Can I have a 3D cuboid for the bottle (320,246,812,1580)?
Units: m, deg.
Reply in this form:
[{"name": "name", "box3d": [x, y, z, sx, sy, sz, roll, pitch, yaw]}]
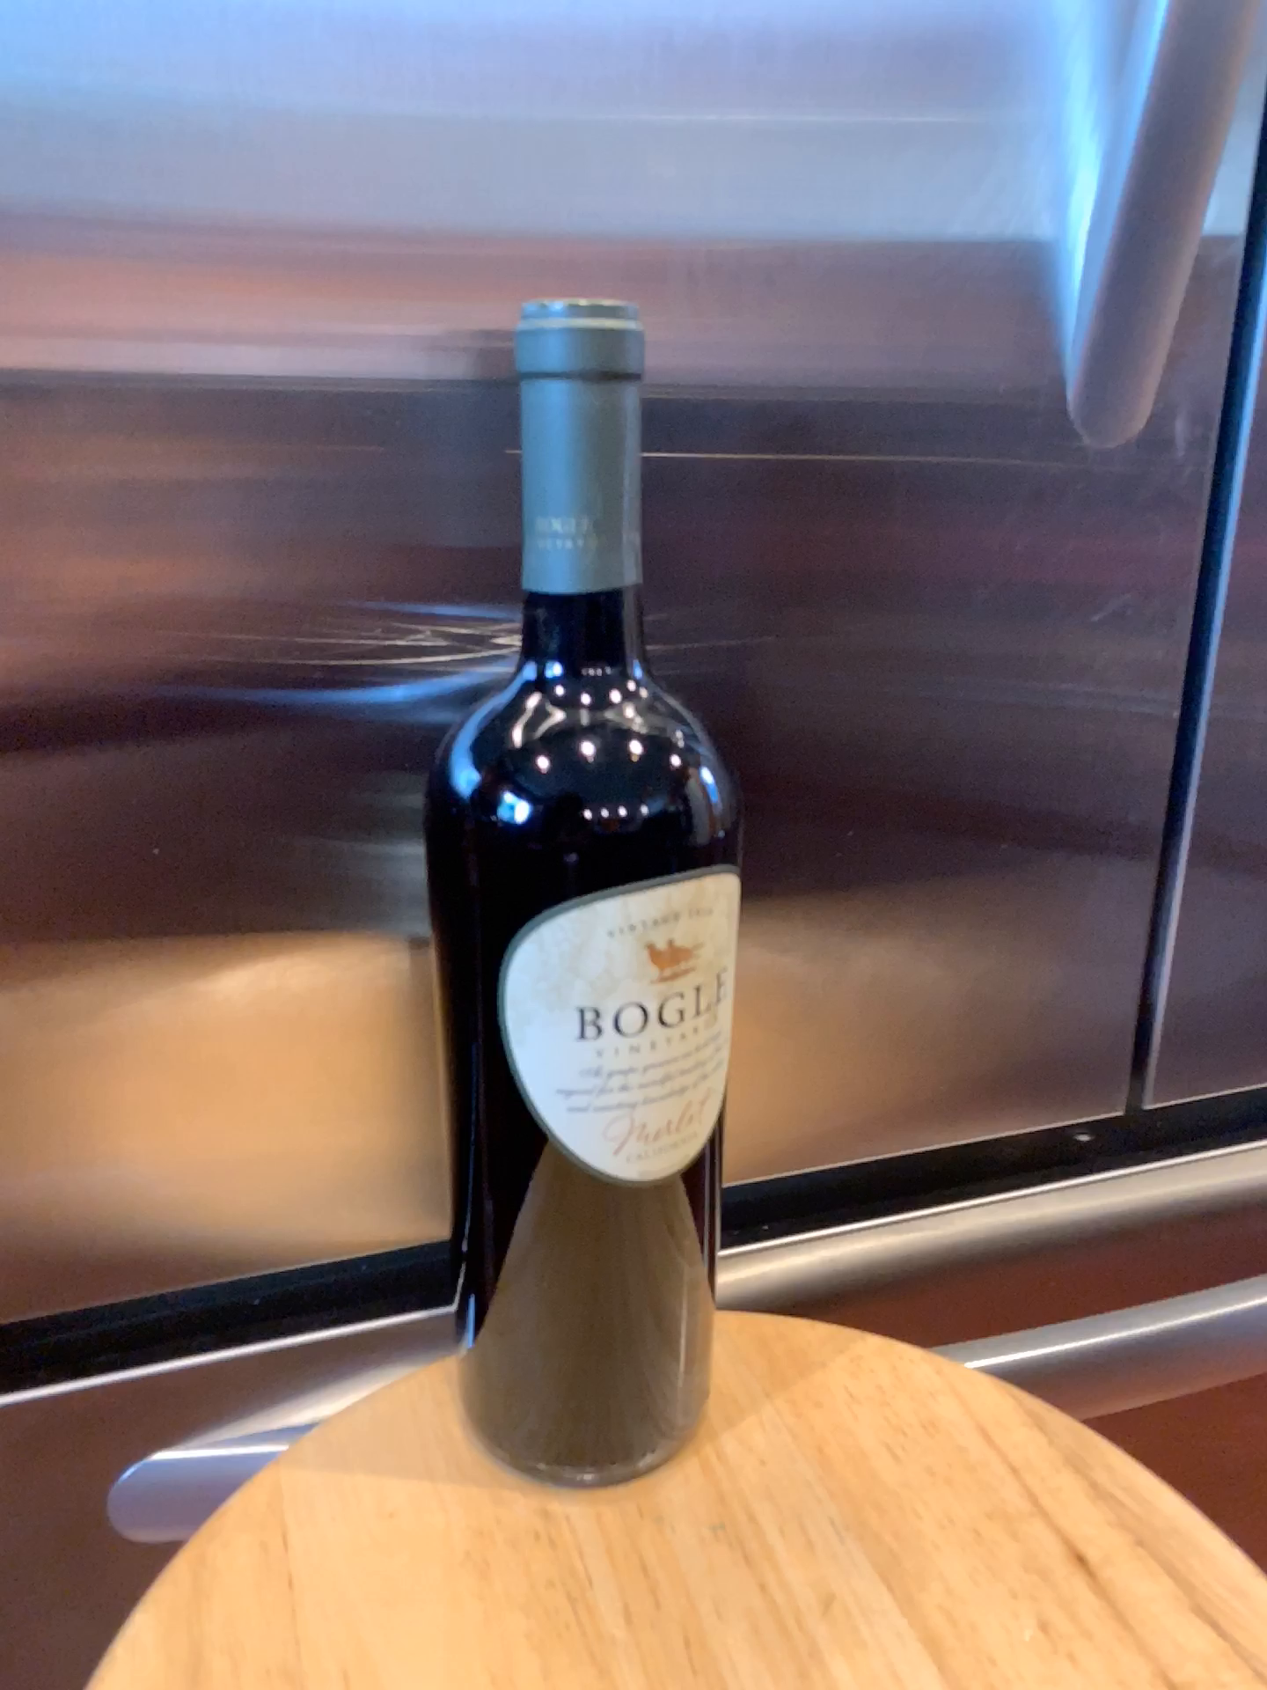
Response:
[{"name": "bottle", "box3d": [-0.018, 0.022, 0.345, 0.080, 0.319, 0.080, 1, 18, 0]}]
